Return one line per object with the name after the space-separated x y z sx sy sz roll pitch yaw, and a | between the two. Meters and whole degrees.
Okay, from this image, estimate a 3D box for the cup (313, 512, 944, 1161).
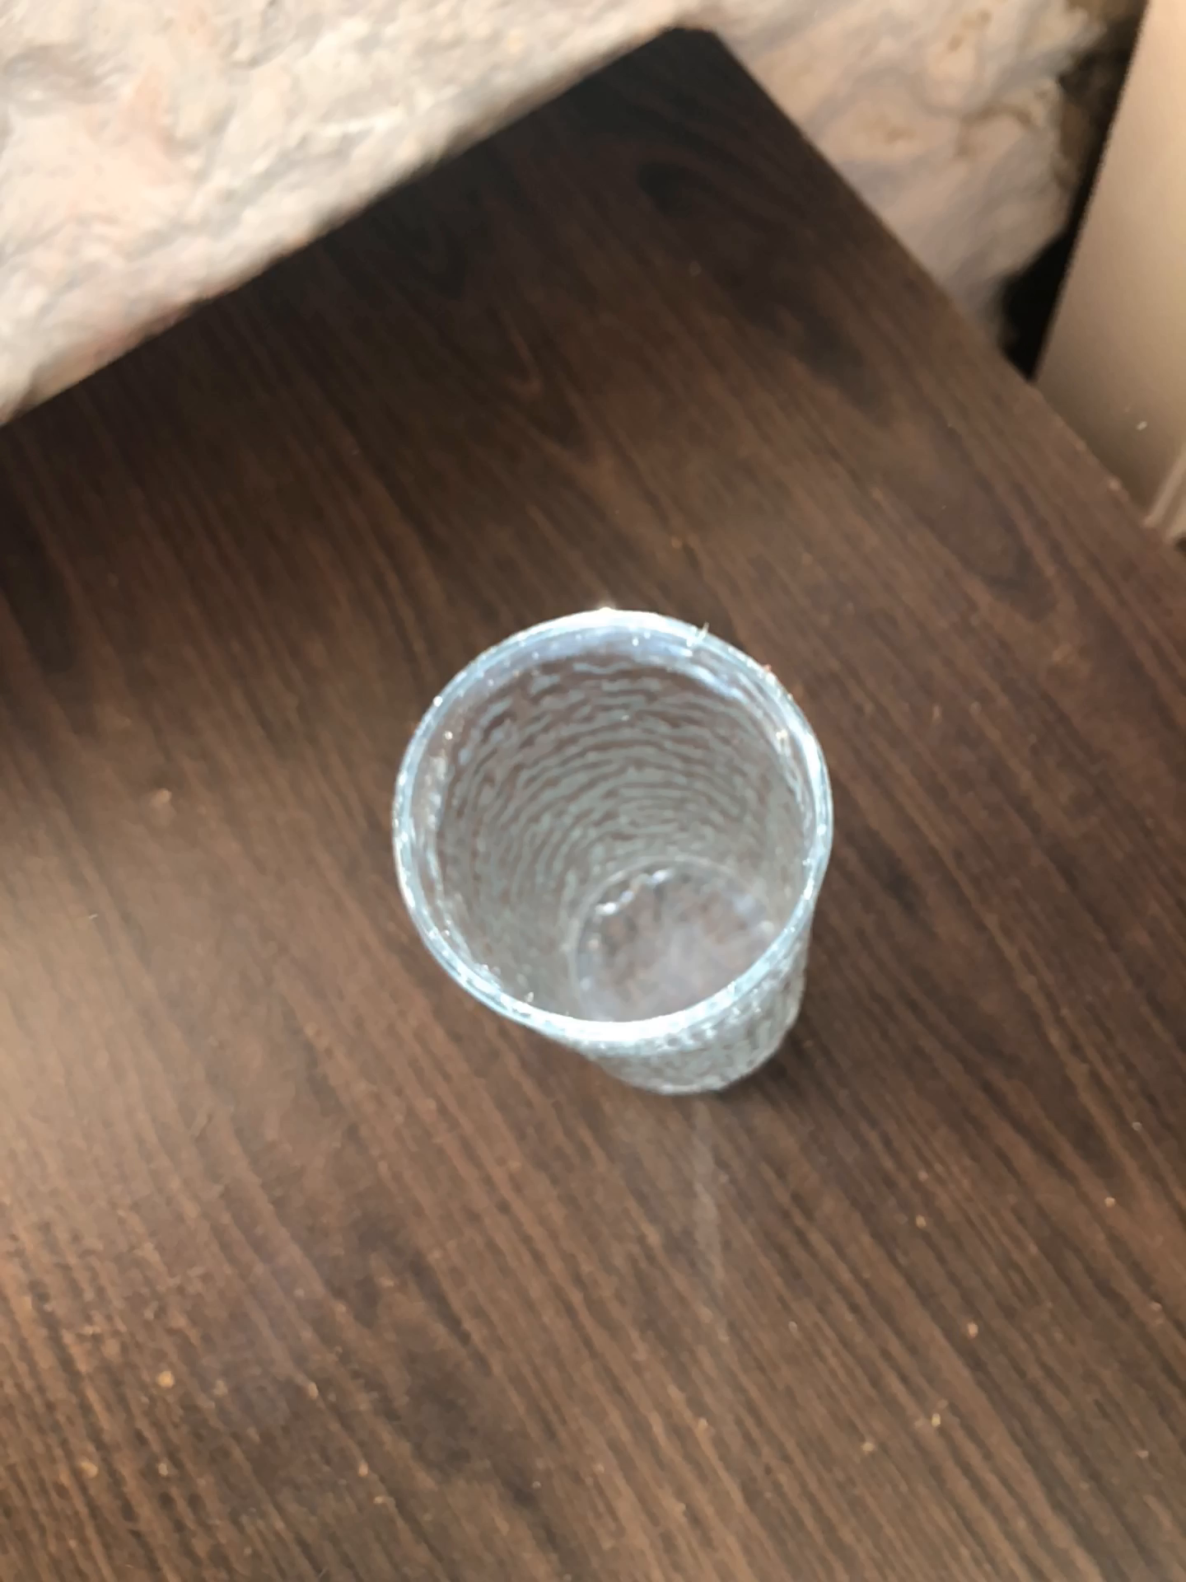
0.011 0.021 0.254 0.070 0.131 0.068 -2 72 7 | cup
